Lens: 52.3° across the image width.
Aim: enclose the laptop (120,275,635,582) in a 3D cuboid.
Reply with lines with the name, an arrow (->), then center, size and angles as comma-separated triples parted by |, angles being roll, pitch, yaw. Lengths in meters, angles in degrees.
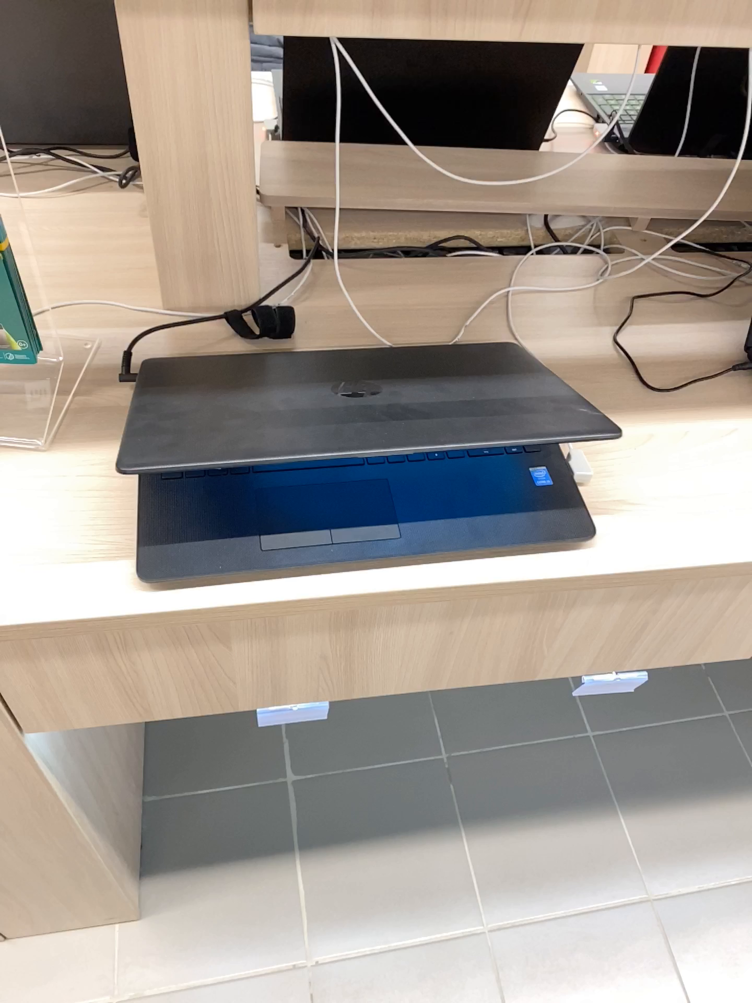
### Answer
laptop -> -0.014, -0.078, 0.658 | 0.372, 0.093, 0.252 | -4, 50, -10
